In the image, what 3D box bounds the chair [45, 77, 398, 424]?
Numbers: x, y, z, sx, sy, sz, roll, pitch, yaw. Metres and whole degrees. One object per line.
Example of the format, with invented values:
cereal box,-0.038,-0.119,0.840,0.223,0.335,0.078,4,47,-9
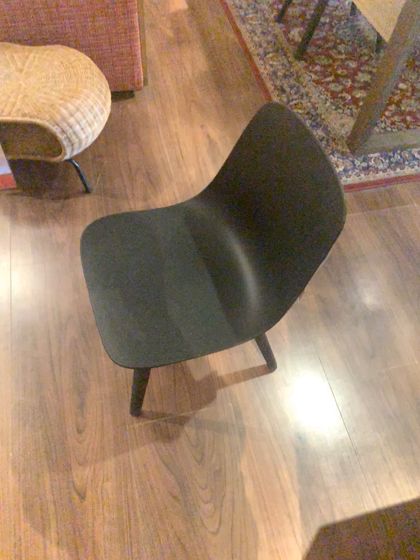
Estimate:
chair,-0.021,-0.017,1.084,0.530,0.718,0.441,-14,61,-13
